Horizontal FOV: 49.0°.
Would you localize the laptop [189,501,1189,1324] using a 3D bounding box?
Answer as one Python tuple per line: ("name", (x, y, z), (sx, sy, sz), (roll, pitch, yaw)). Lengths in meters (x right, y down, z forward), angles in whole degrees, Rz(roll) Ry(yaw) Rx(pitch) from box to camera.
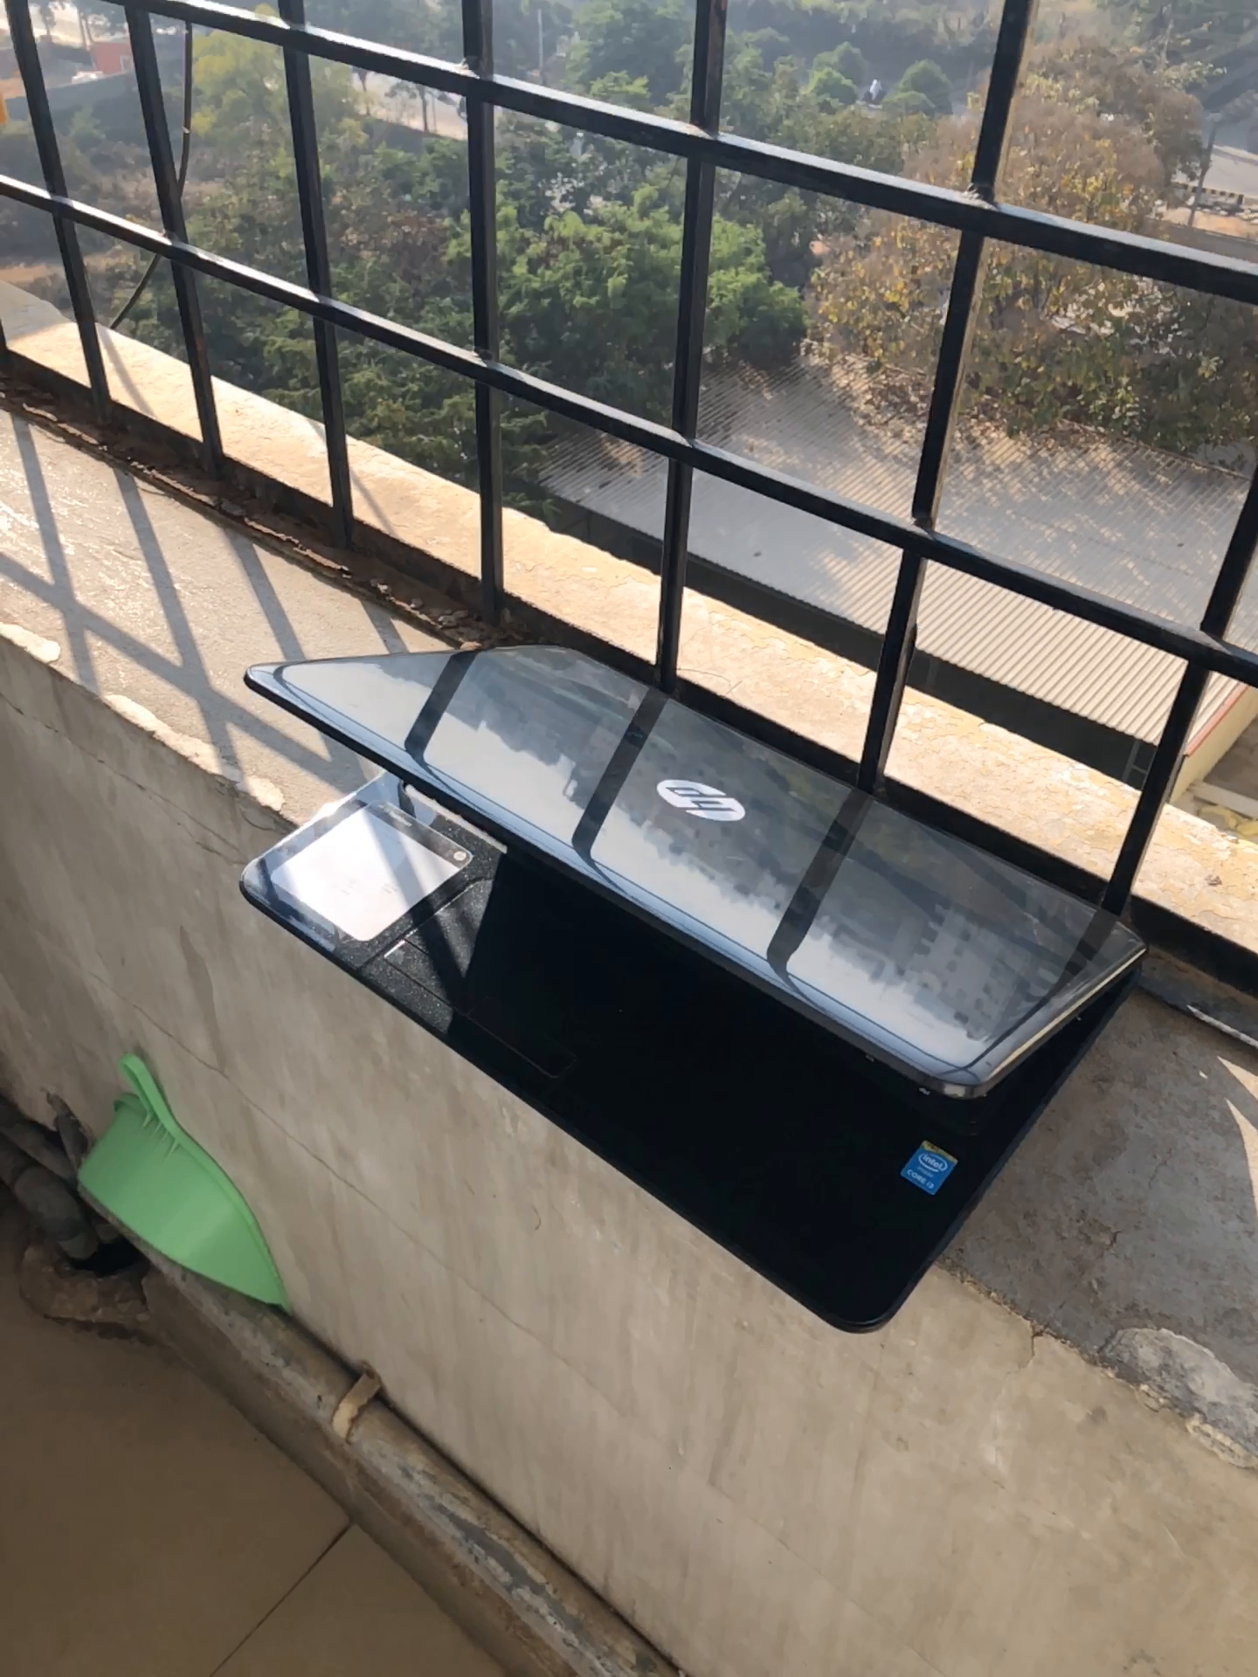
("laptop", (0.022, -0.003, 0.633), (0.364, 0.113, 0.245), (29, 47, 27))
